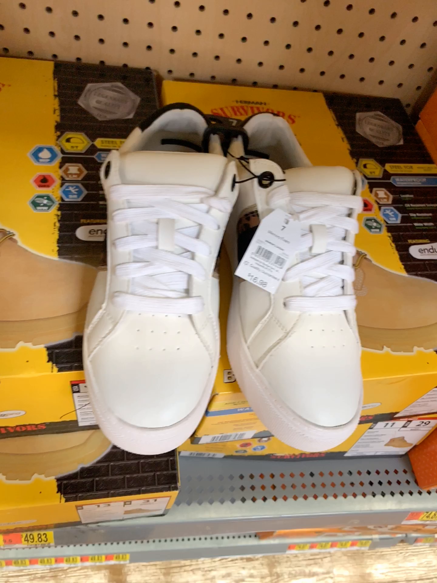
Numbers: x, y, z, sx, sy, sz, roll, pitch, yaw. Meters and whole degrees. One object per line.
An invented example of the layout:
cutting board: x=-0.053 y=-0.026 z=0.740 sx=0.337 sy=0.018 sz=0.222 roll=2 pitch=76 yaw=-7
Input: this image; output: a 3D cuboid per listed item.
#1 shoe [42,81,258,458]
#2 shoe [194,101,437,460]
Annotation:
shoe: x=-0.040 y=-0.024 z=0.304 sx=0.100 sy=0.072 sz=0.246 roll=4 pitch=59 yaw=-10
shoe: x=0.056 y=-0.019 z=0.322 sx=0.102 sy=0.071 sz=0.241 roll=-1 pitch=60 yaw=-18
